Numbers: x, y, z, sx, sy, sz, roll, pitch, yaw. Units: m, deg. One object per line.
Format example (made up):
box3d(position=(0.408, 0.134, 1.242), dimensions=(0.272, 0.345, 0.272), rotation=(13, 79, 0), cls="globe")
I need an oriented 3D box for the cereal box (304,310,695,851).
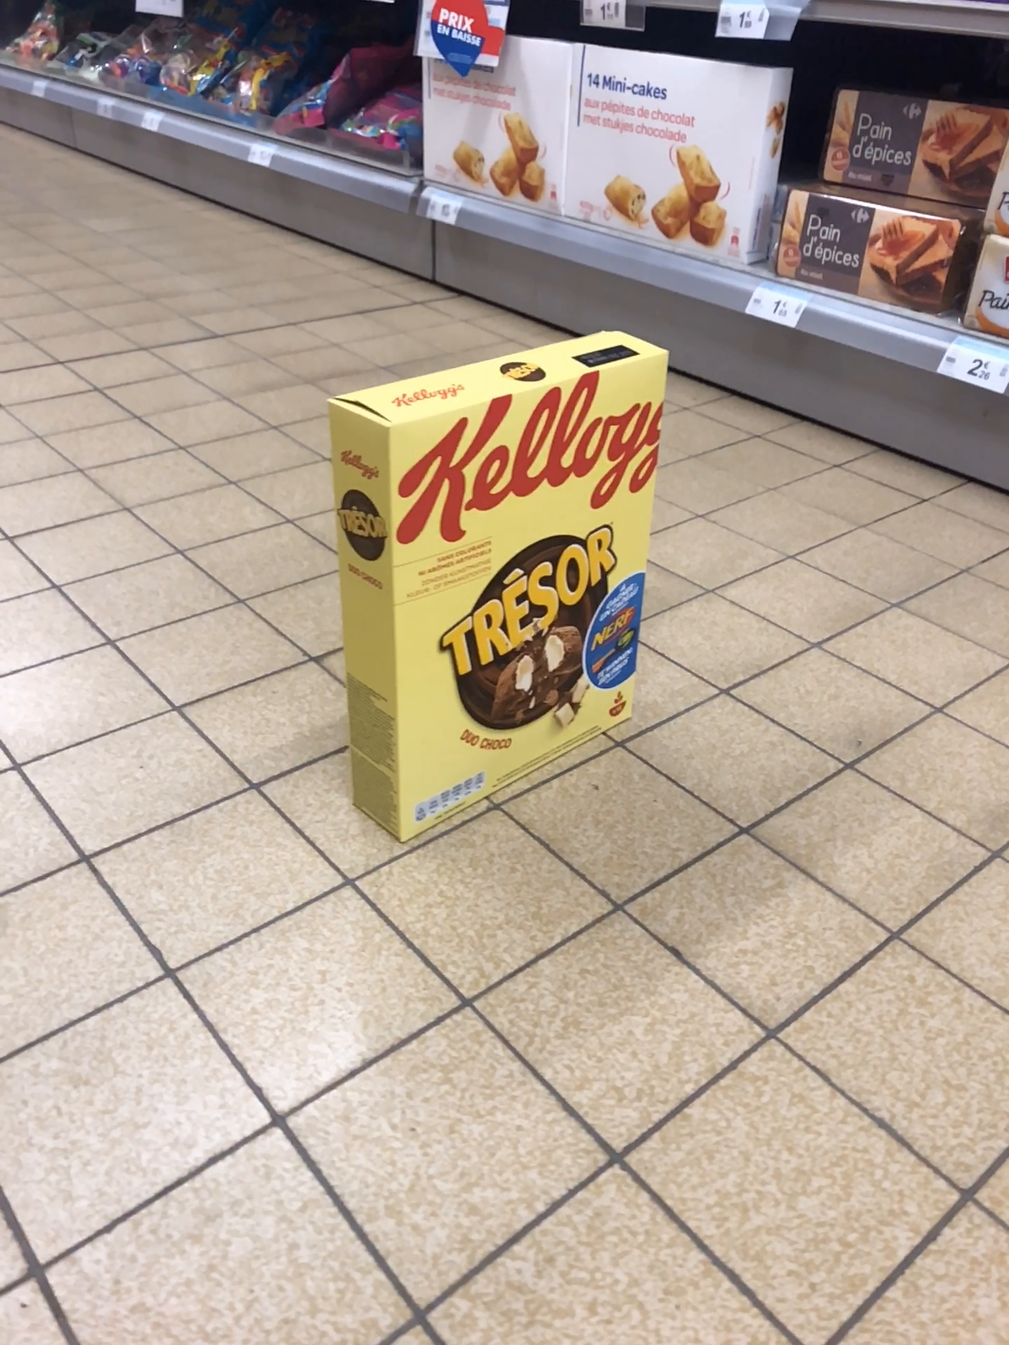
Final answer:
box3d(position=(0.000, -0.053, 0.597), dimensions=(0.201, 0.239, 0.060), rotation=(-24, 41, -36), cls="cereal box")
